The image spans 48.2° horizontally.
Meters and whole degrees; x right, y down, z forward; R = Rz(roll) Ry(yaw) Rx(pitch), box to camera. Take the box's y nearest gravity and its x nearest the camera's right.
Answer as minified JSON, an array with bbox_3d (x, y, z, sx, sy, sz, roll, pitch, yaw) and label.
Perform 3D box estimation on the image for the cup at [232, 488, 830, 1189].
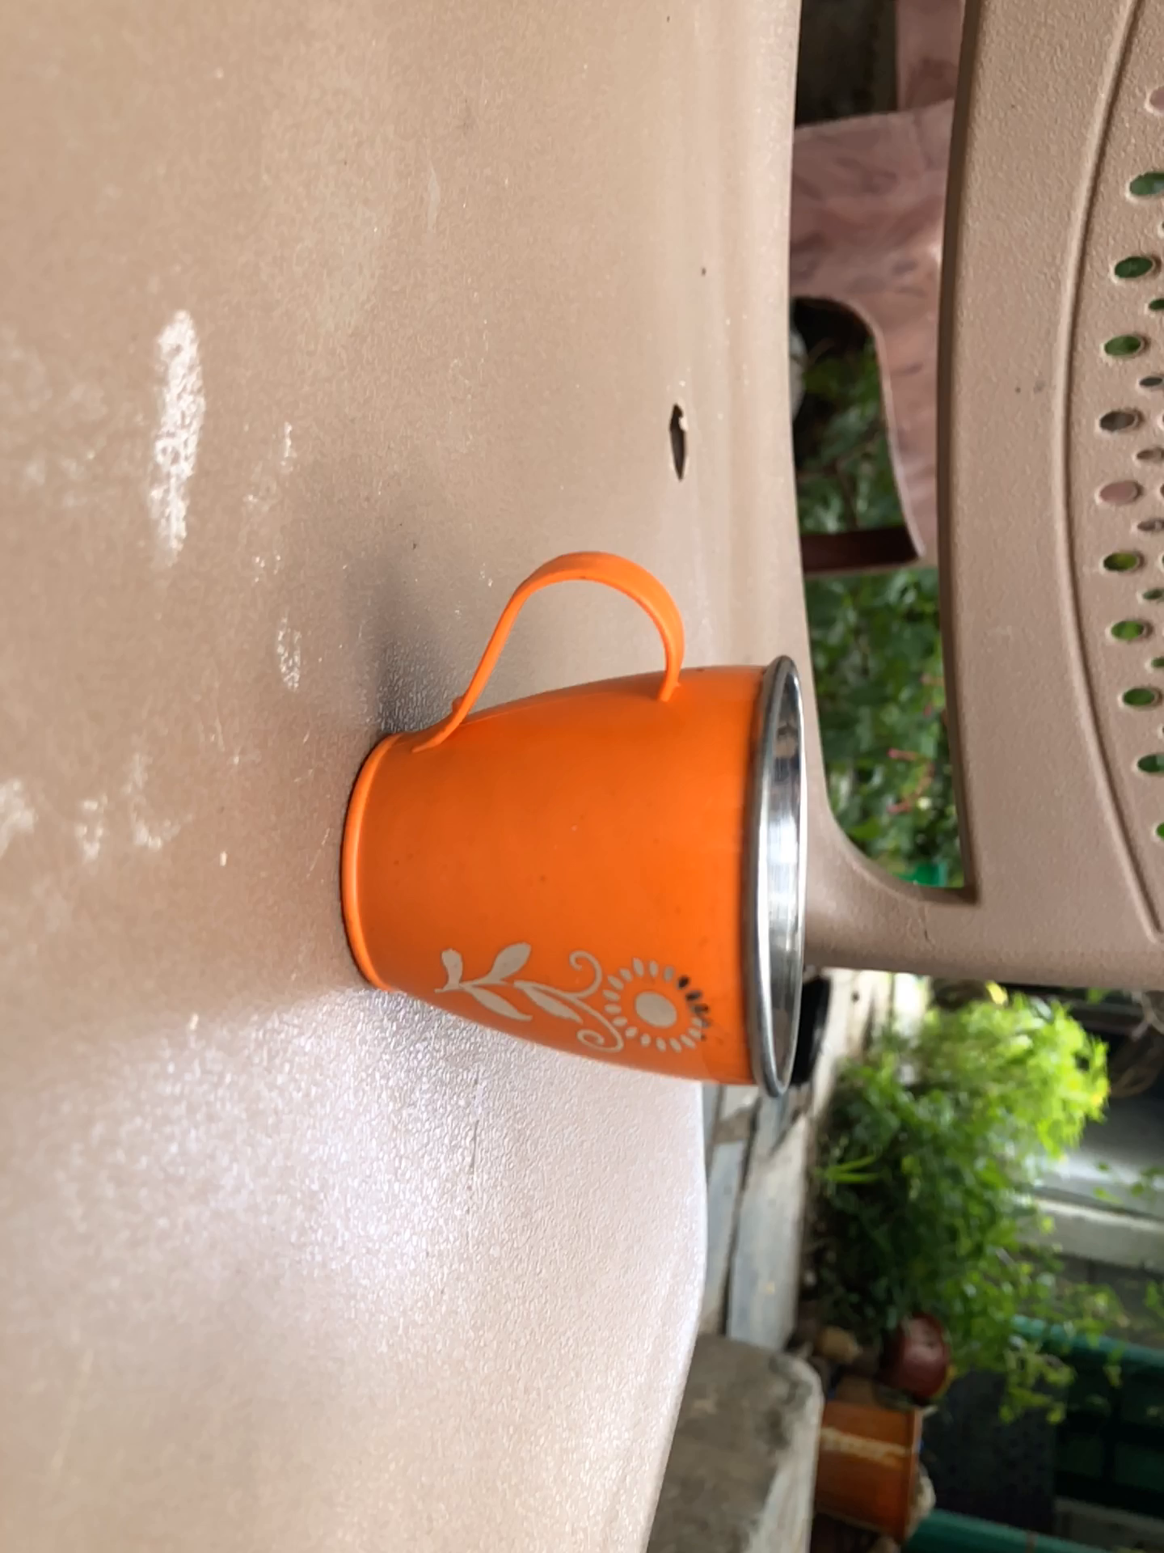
[{"bbox_3d":[0.001,0.008,0.185,0.050,0.060,0.080,-64,153,-46],"label":"cup"}]
